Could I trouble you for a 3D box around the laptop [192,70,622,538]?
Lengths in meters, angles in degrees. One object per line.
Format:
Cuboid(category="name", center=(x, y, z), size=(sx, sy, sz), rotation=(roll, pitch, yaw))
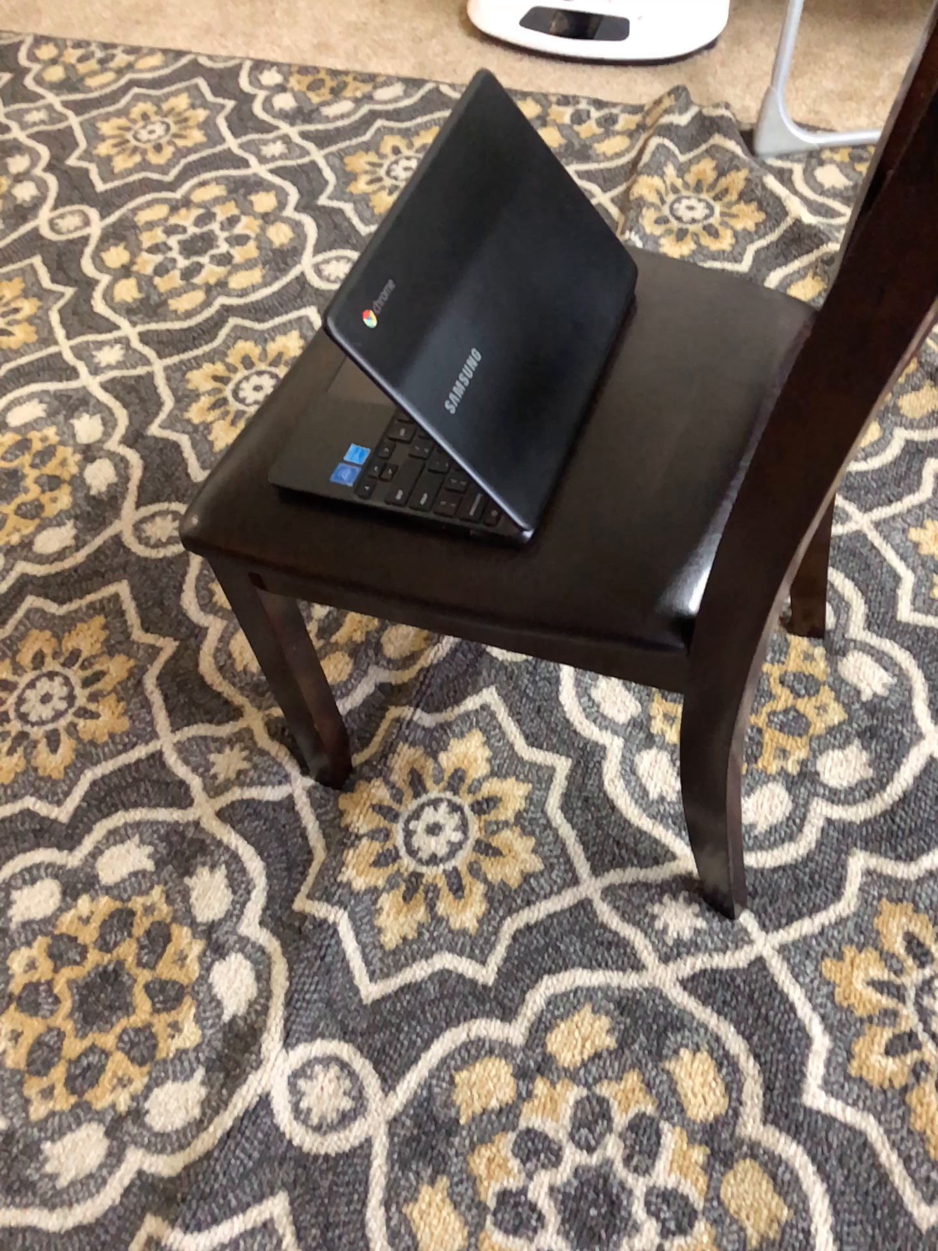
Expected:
Cuboid(category="laptop", center=(-0.024, -0.229, 0.714), size=(0.191, 0.155, 0.263), rotation=(14, 60, 16))
